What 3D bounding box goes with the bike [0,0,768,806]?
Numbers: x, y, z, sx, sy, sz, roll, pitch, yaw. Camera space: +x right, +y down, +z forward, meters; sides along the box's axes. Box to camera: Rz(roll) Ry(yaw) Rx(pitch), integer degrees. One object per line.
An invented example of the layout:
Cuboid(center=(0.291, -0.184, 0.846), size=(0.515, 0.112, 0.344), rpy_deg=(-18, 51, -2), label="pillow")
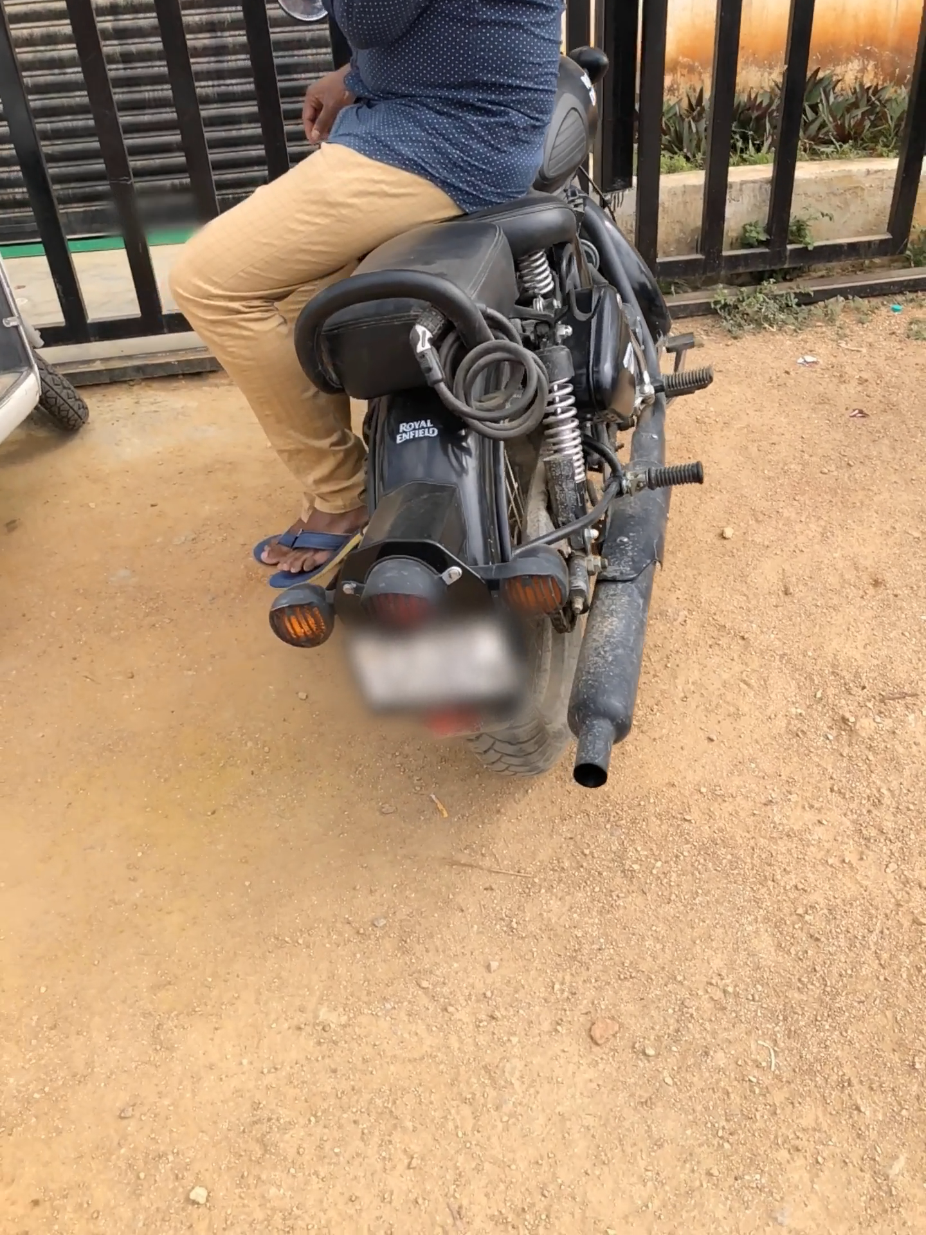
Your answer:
Cuboid(center=(-0.102, -0.842, 1.898), size=(0.722, 1.169, 1.816), rpy_deg=(-3, 40, 2), label="bike")
